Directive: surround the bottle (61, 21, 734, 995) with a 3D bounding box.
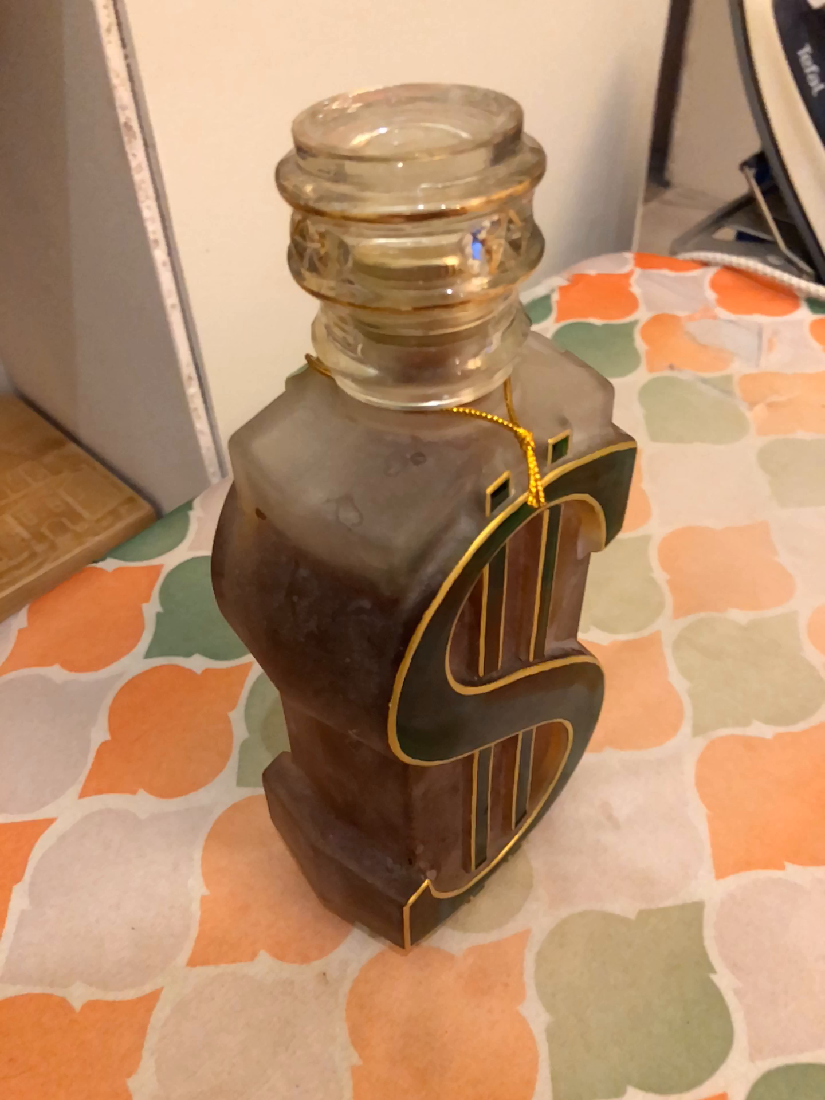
[{"bbox_3d":[0.005,0.010,0.238,0.064,0.233,0.100,32,54,31],"label":"bottle"}]
